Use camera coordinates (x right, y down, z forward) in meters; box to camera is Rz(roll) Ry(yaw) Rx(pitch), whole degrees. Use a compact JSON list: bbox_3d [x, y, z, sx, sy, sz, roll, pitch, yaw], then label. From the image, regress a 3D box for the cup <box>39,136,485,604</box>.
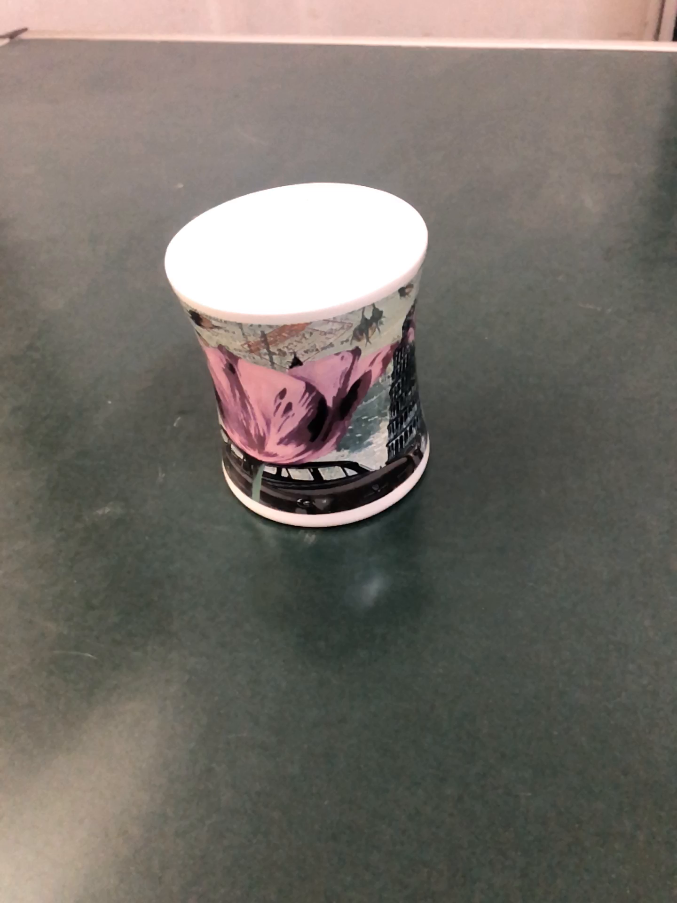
[{"bbox_3d":[-0.023,-0.036,0.285,0.120,0.110,0.090,31,55,34],"label":"cup"}]
